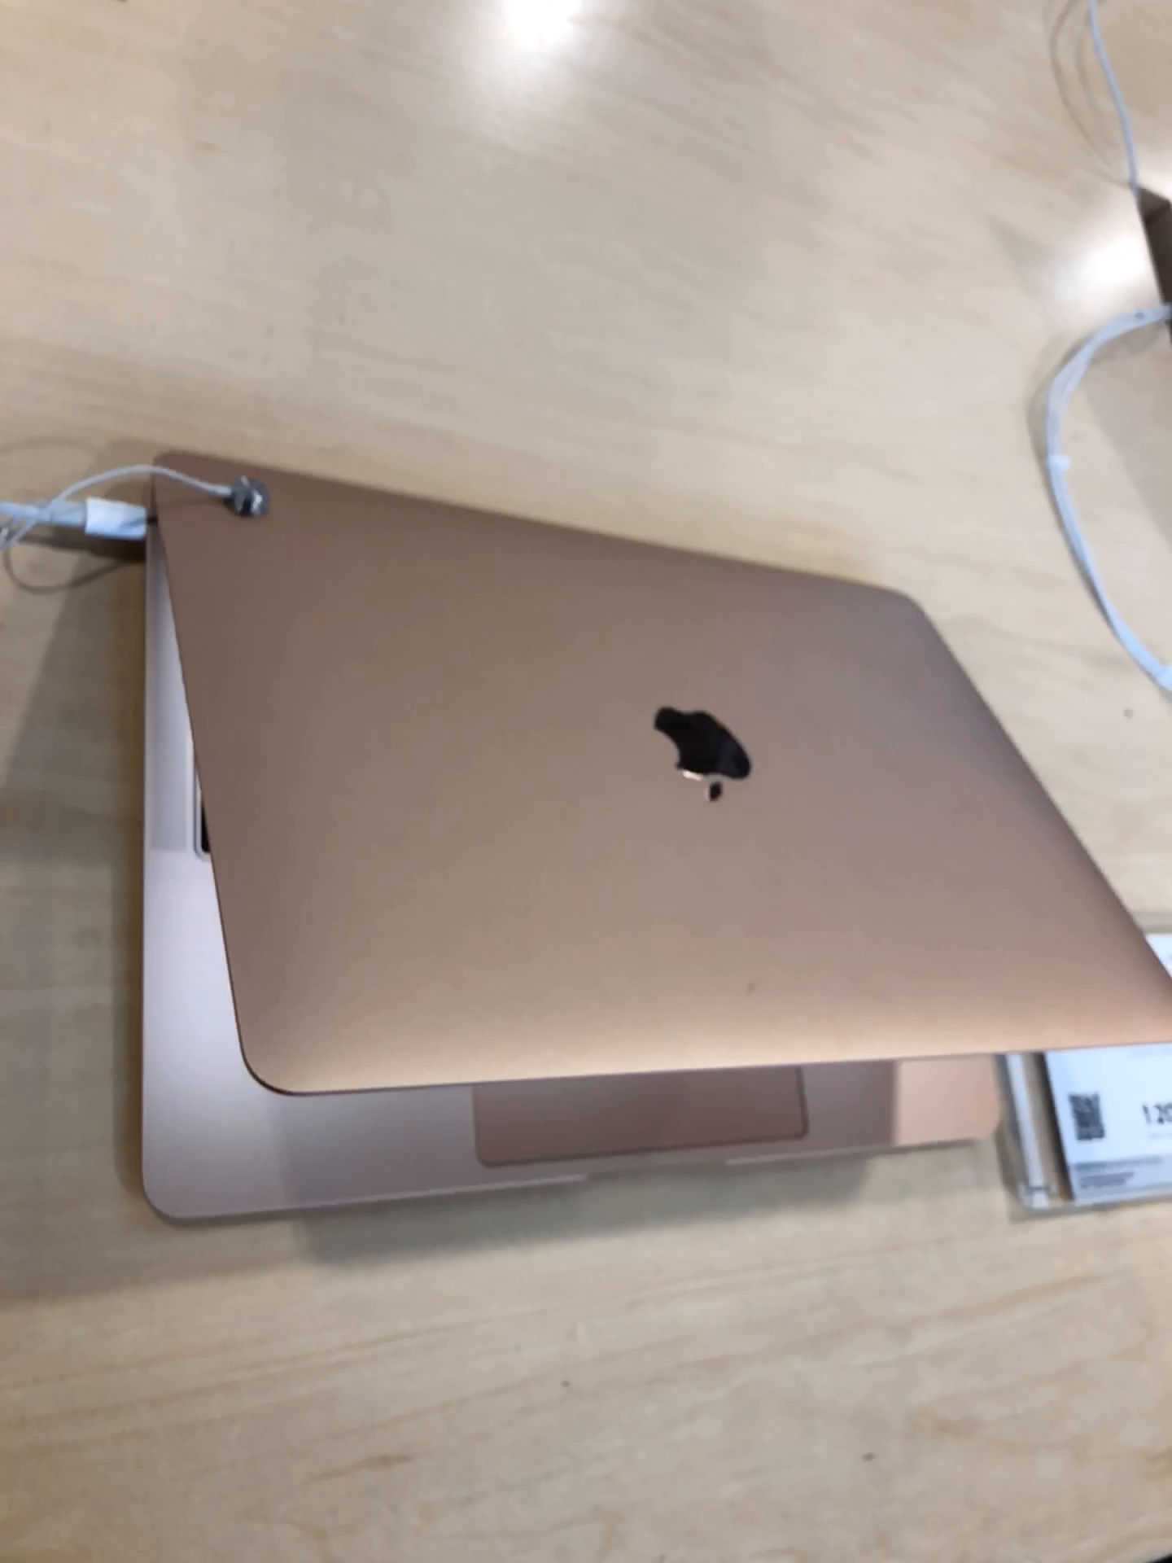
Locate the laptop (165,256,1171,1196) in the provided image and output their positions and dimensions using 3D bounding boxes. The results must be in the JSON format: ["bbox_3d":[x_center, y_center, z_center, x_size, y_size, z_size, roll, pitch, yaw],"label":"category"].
[{"bbox_3d":[0.039,-0.003,0.379,0.289,0.093,0.203,5,70,-30],"label":"laptop"}]
